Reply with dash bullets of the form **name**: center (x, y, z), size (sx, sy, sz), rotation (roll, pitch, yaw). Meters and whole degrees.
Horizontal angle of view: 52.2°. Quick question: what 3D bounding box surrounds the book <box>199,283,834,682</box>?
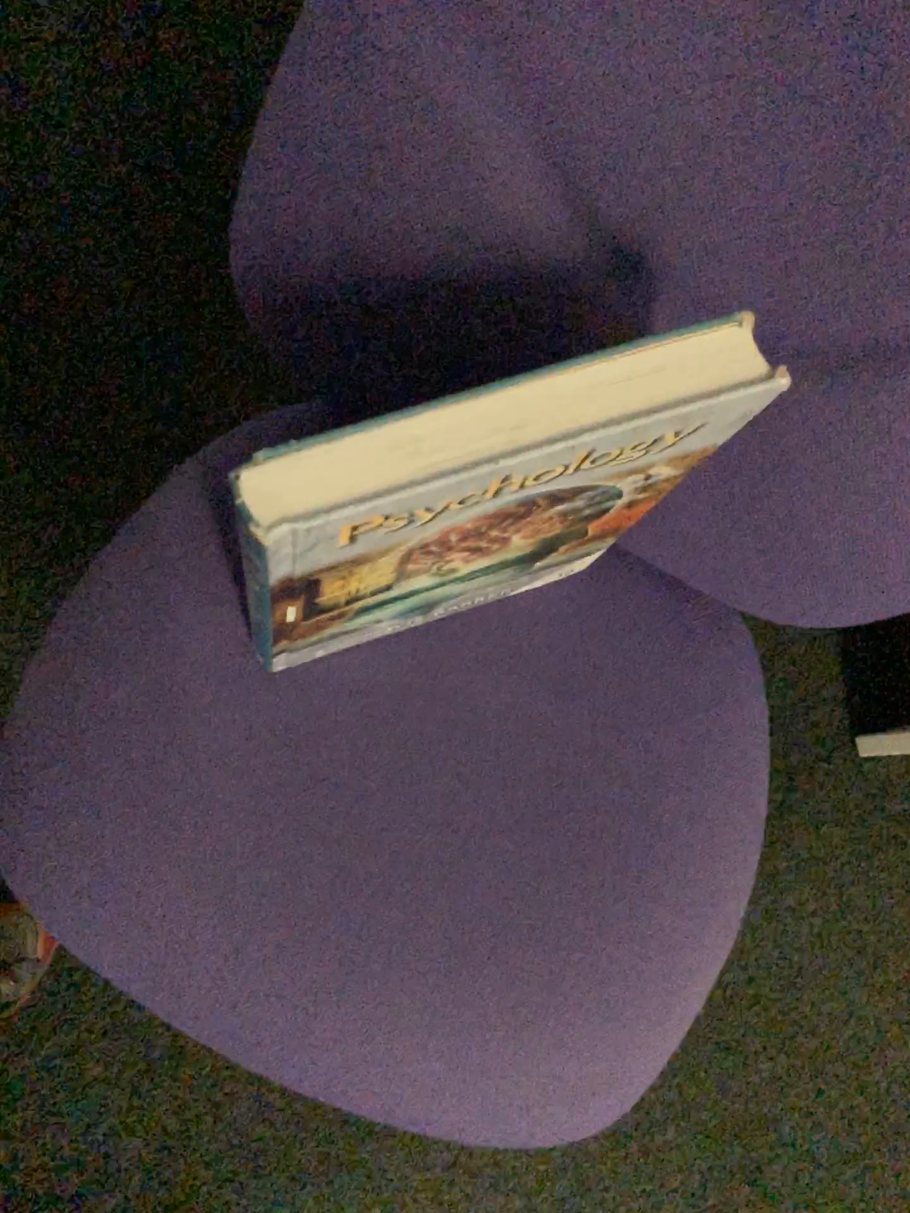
- **book**: center (0.010, -0.041, 0.484), size (0.243, 0.289, 0.040), rotation (-19, 81, -12)
